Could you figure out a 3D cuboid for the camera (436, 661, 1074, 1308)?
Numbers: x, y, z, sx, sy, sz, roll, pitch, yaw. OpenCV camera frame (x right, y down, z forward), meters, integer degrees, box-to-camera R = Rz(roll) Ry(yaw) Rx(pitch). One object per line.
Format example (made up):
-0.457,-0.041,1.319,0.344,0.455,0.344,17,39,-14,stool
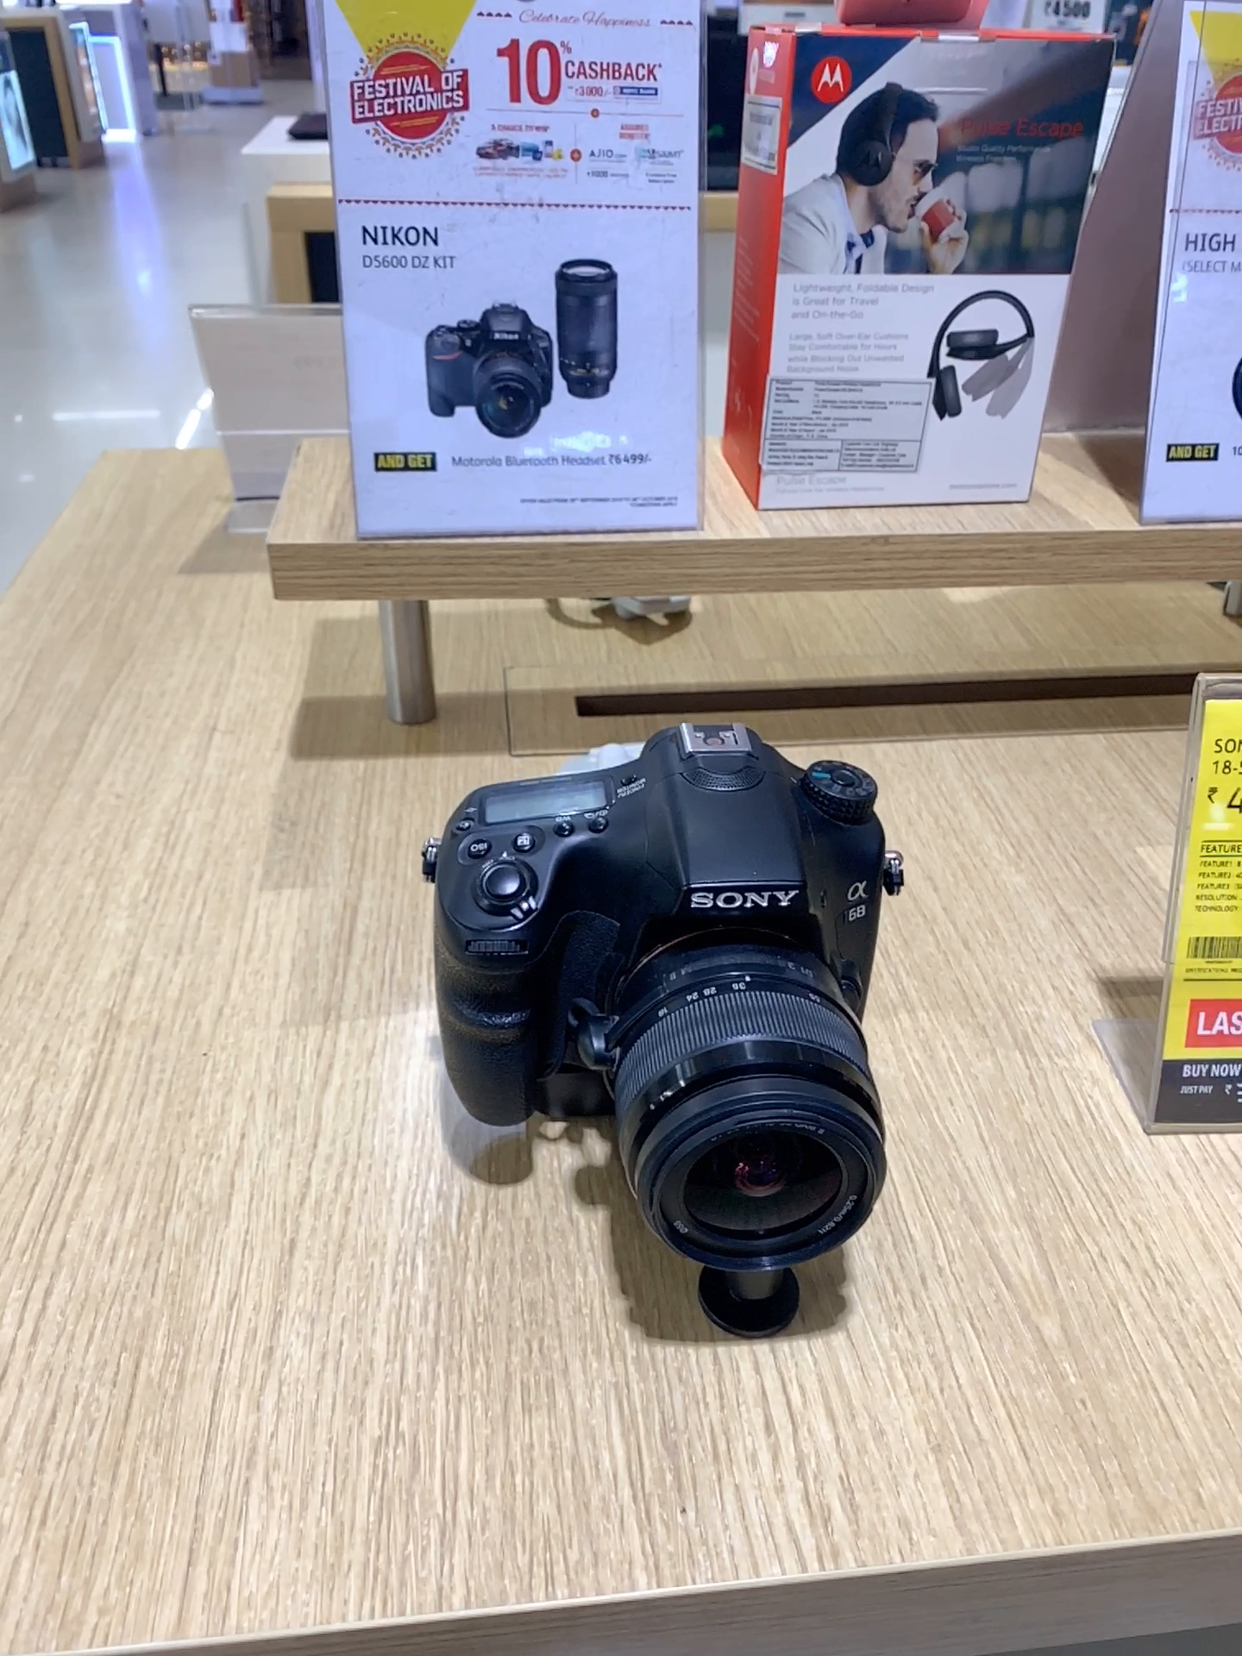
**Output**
0.019,0.027,0.351,0.130,0.070,0.181,-2,33,-5,camera
